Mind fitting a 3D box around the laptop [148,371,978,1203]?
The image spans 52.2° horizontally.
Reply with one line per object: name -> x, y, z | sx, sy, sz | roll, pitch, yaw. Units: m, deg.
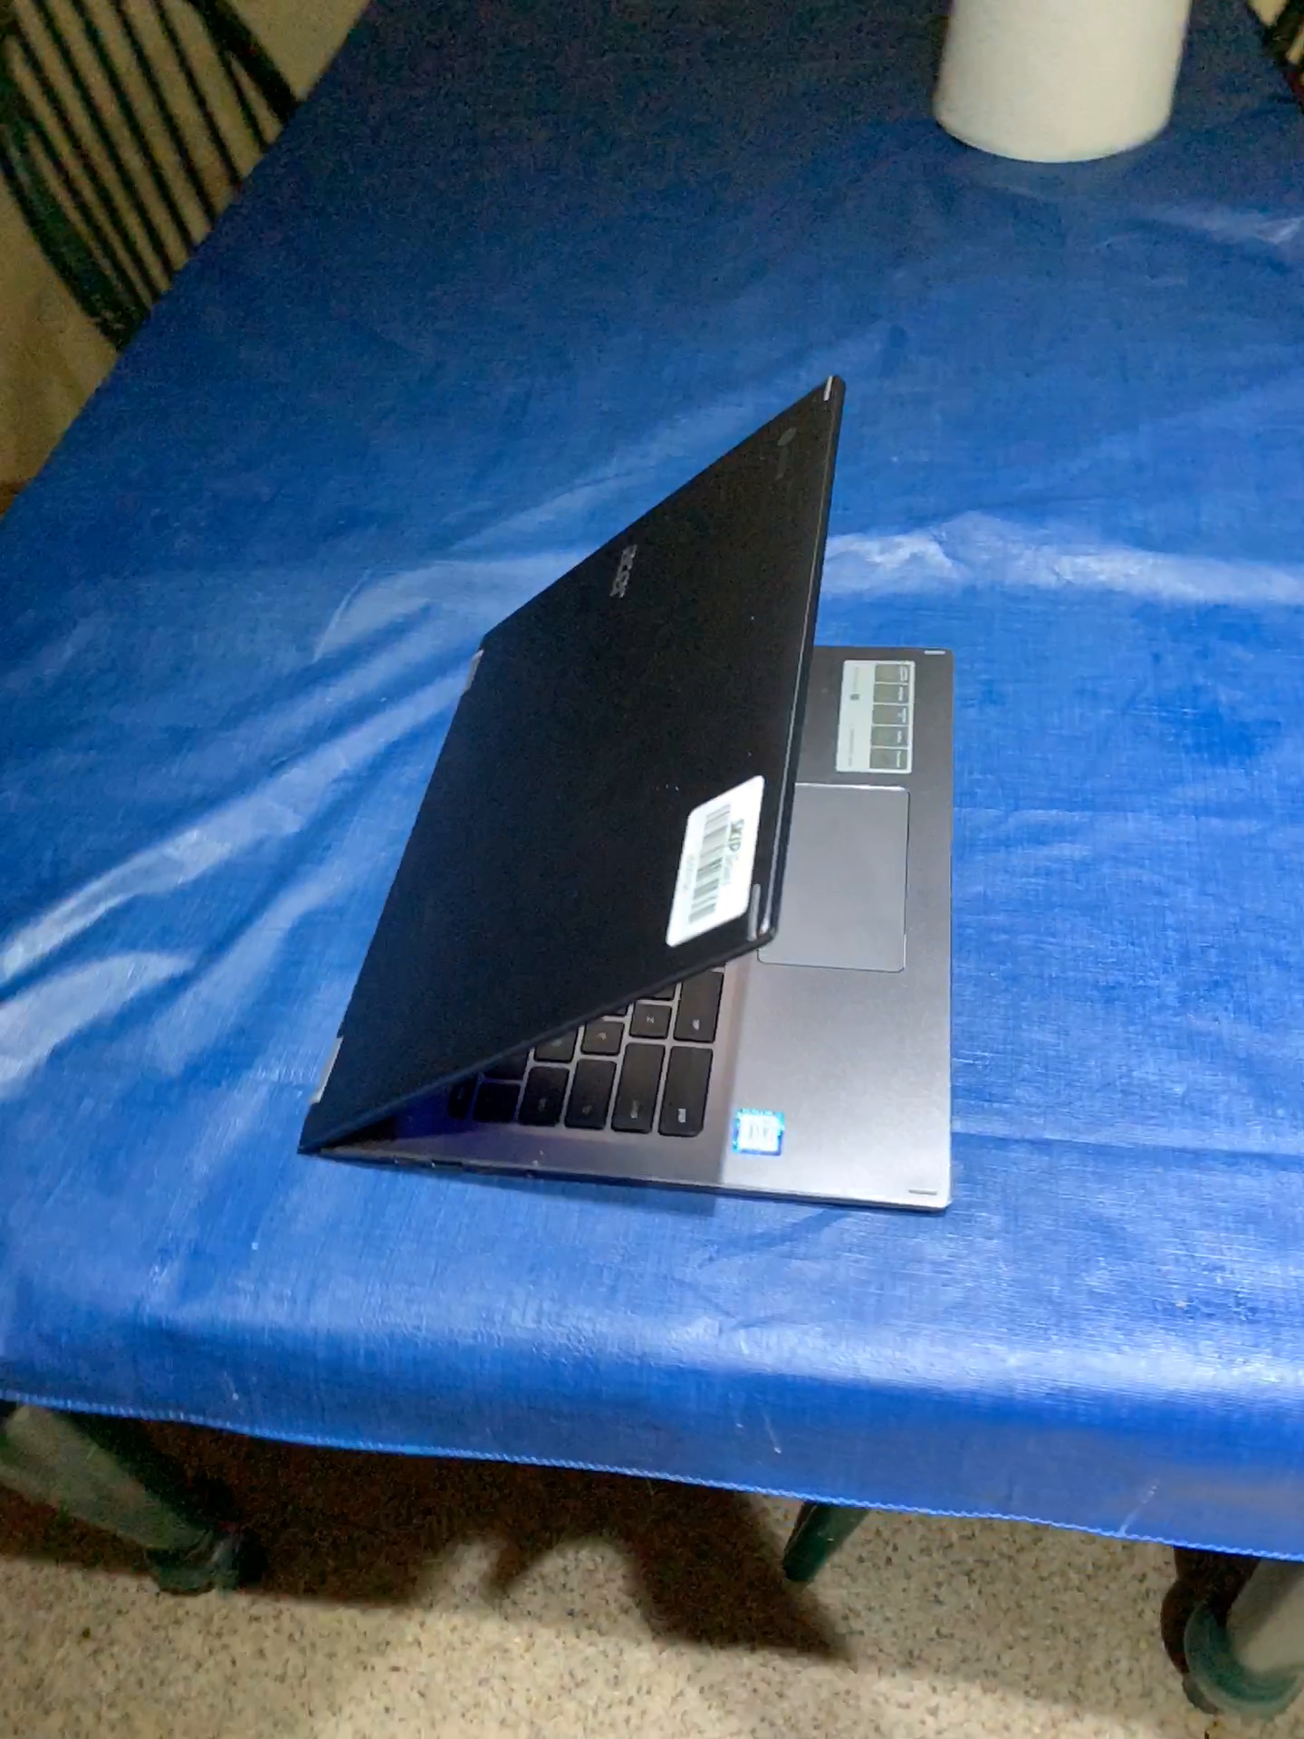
laptop -> -0.003, -0.052, 0.542 | 0.249, 0.151, 0.305 | 3, 49, 10
